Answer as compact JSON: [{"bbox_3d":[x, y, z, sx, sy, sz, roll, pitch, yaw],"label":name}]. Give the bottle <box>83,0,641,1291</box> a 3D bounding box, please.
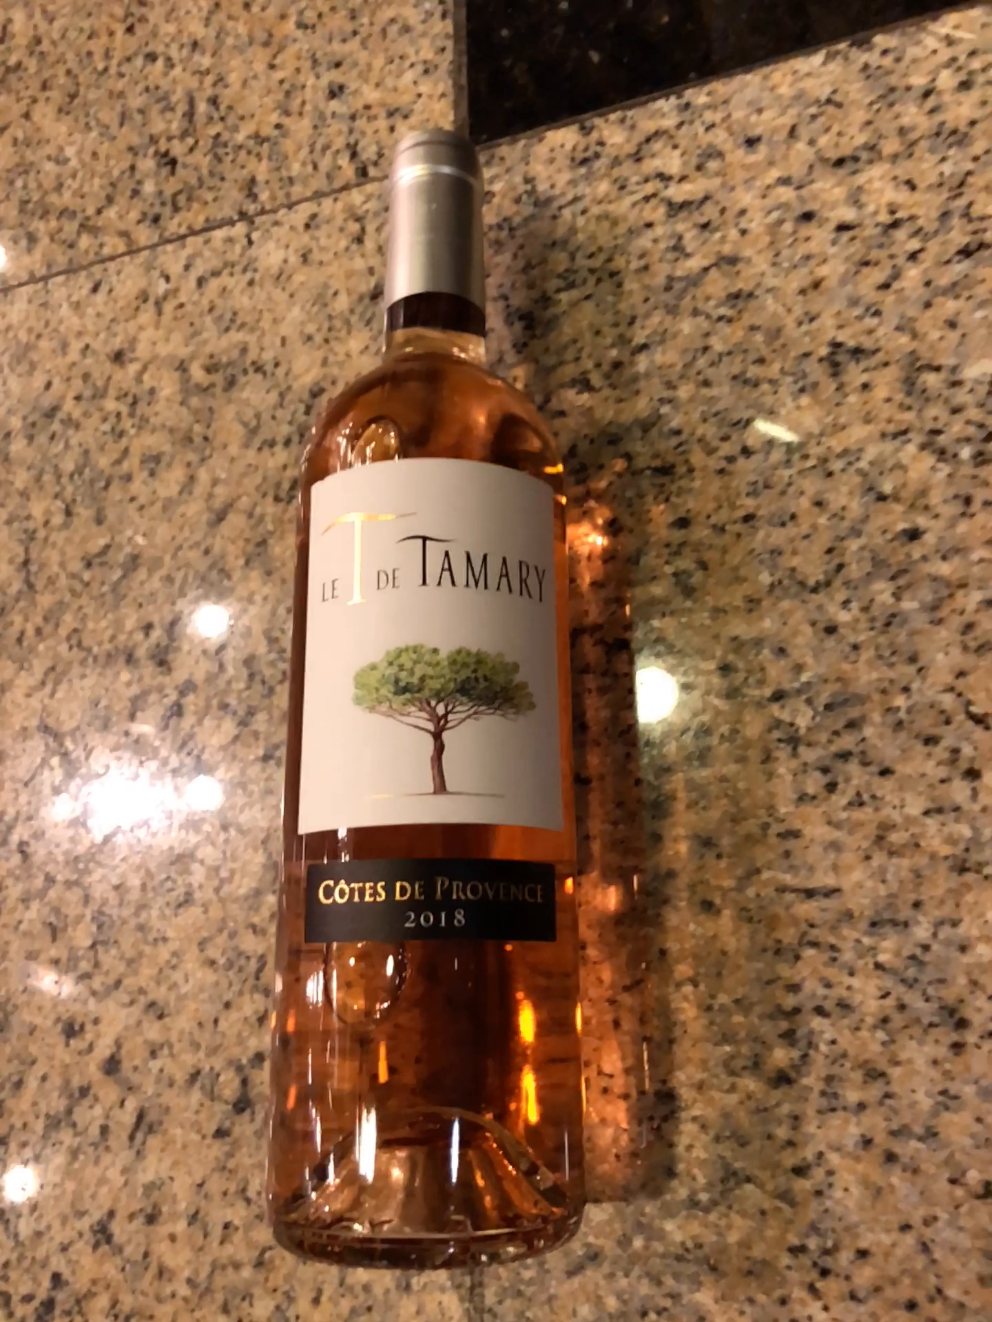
[{"bbox_3d":[-0.026,-0.035,0.277,0.090,0.080,0.320,-7,73,20],"label":"bottle"}]
